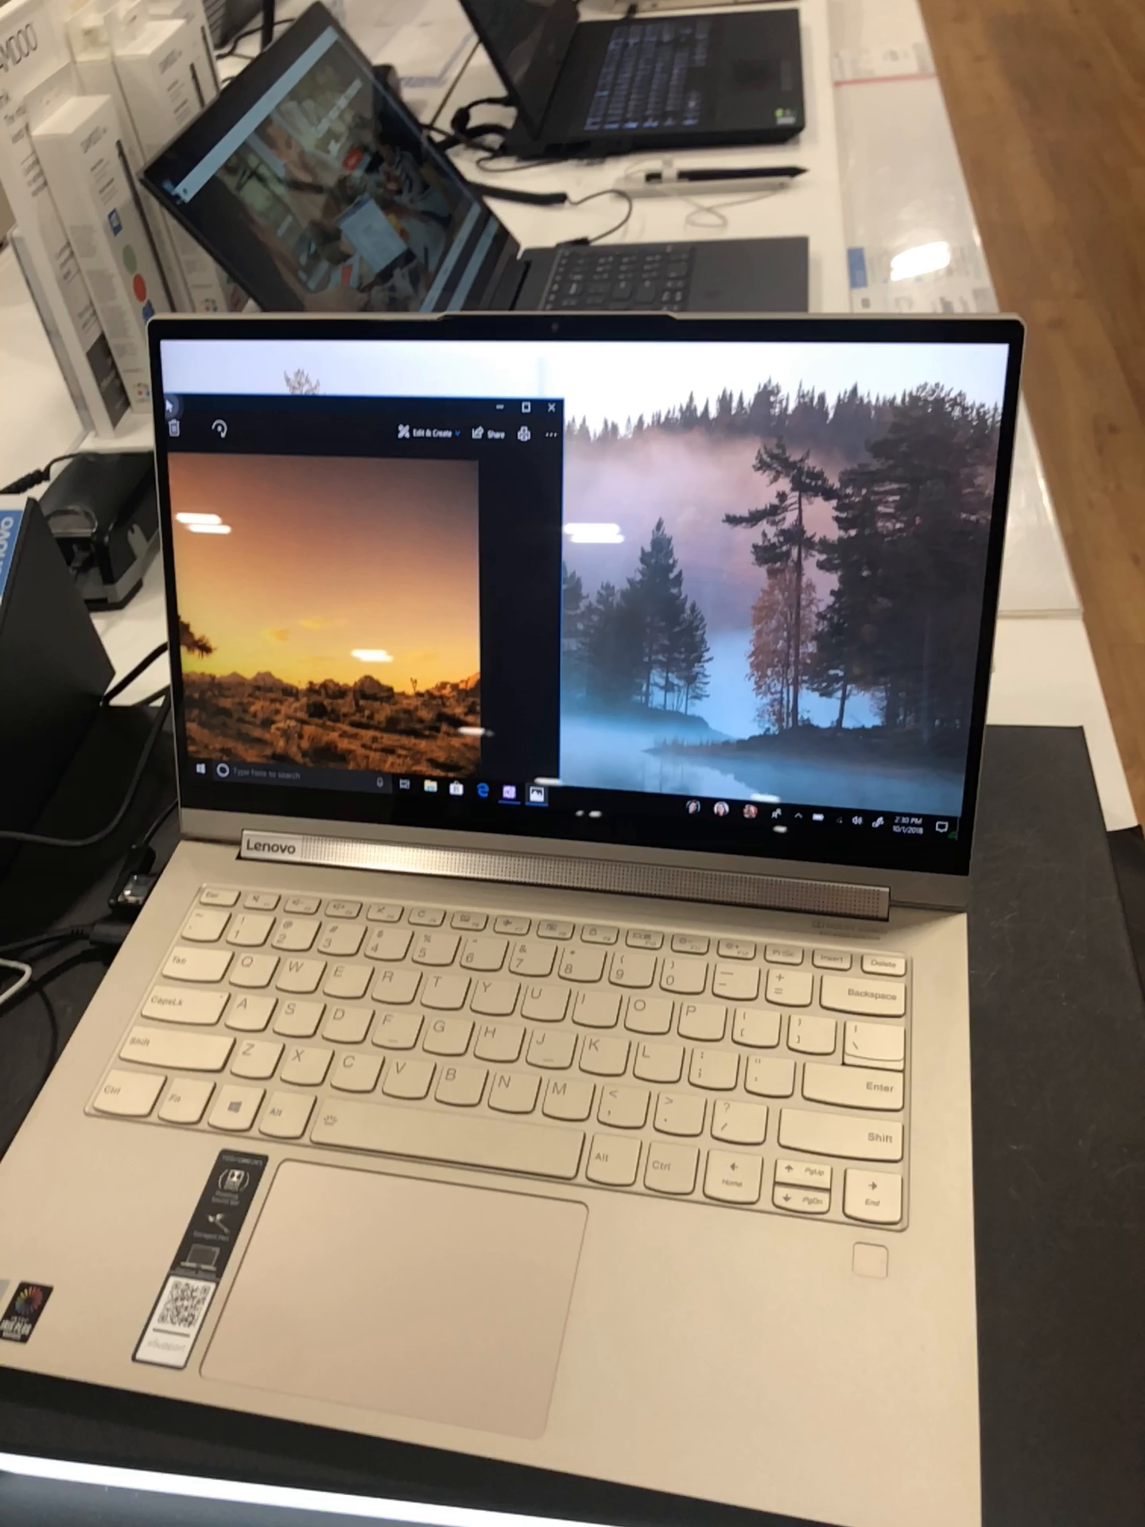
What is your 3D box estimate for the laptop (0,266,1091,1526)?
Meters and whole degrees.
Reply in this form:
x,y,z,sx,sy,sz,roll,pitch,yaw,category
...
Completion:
x,y,z,sx,sy,sz,roll,pitch,yaw,category
-0.033,0.005,0.408,0.320,0.170,0.327,5,48,13,laptop
